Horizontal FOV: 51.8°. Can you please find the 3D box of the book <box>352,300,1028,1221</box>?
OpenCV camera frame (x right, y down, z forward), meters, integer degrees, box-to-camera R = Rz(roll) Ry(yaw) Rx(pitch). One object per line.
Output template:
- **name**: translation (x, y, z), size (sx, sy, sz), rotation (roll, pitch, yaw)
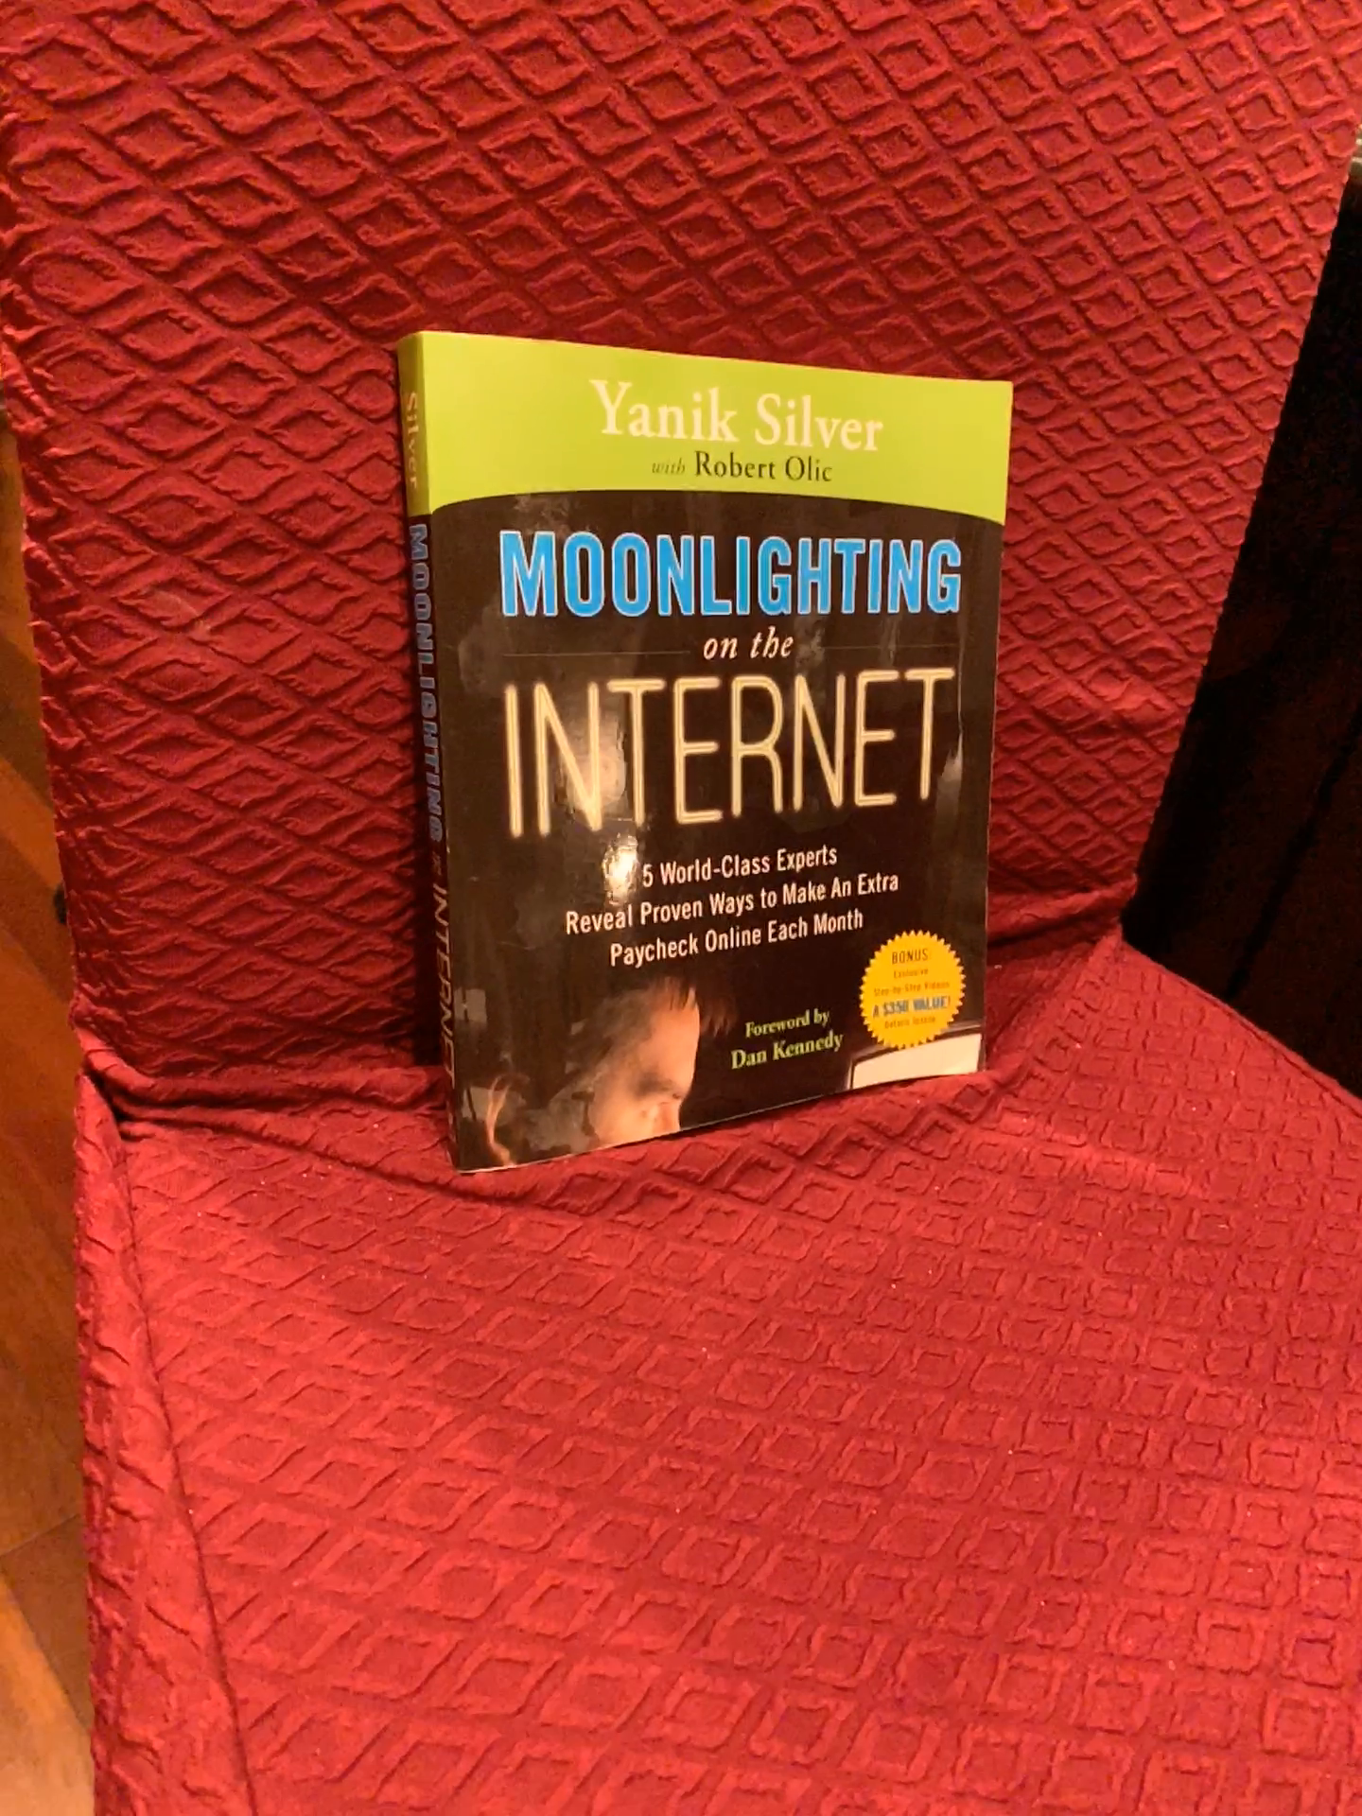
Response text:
- **book**: translation (0.012, -0.046, 0.428), size (0.200, 0.239, 0.040), rotation (-8, 14, -28)
